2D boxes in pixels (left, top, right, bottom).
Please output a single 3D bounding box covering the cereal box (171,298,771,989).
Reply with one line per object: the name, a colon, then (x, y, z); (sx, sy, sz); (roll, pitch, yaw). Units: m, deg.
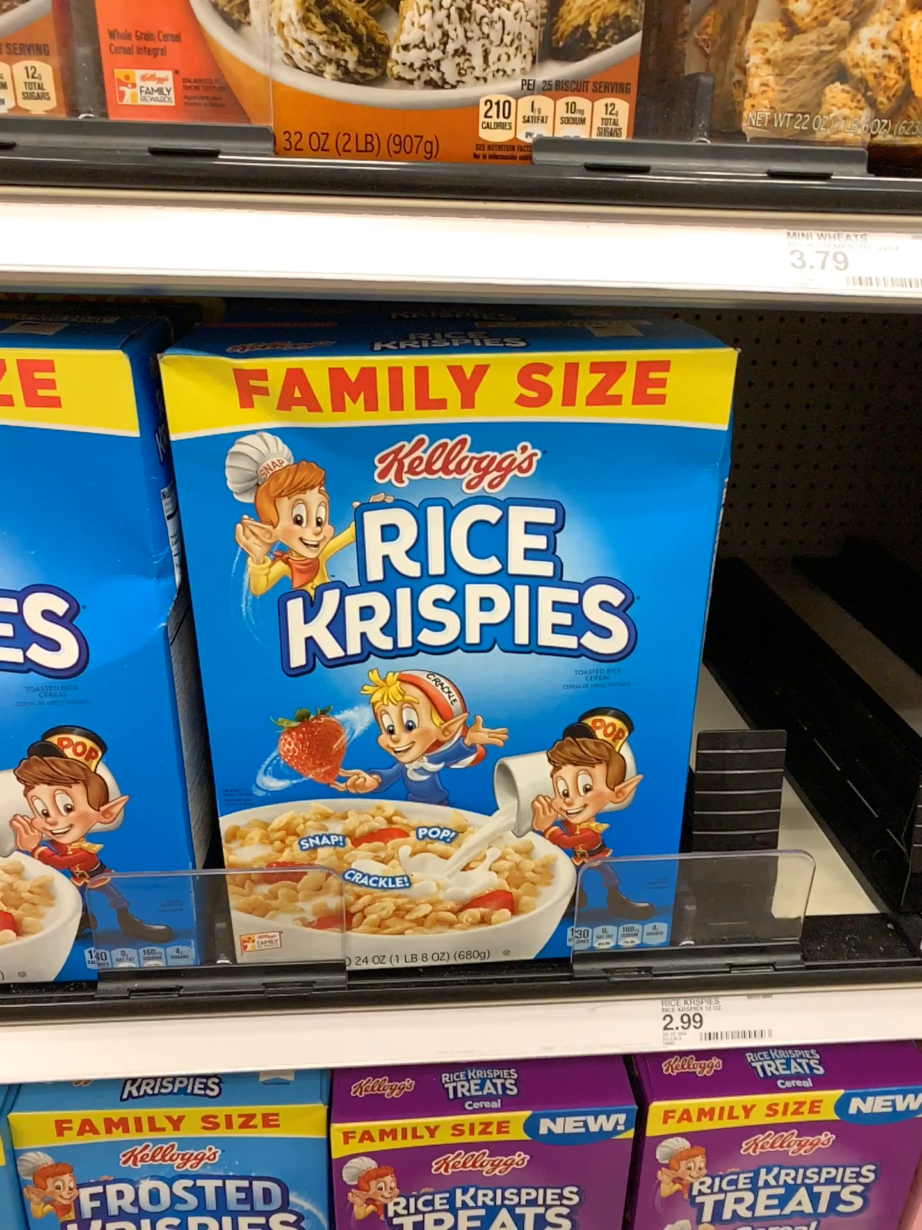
cereal box: (-0.002, 0.021, 0.507); (0.250, 0.348, 0.100); (-1, 24, -7)
